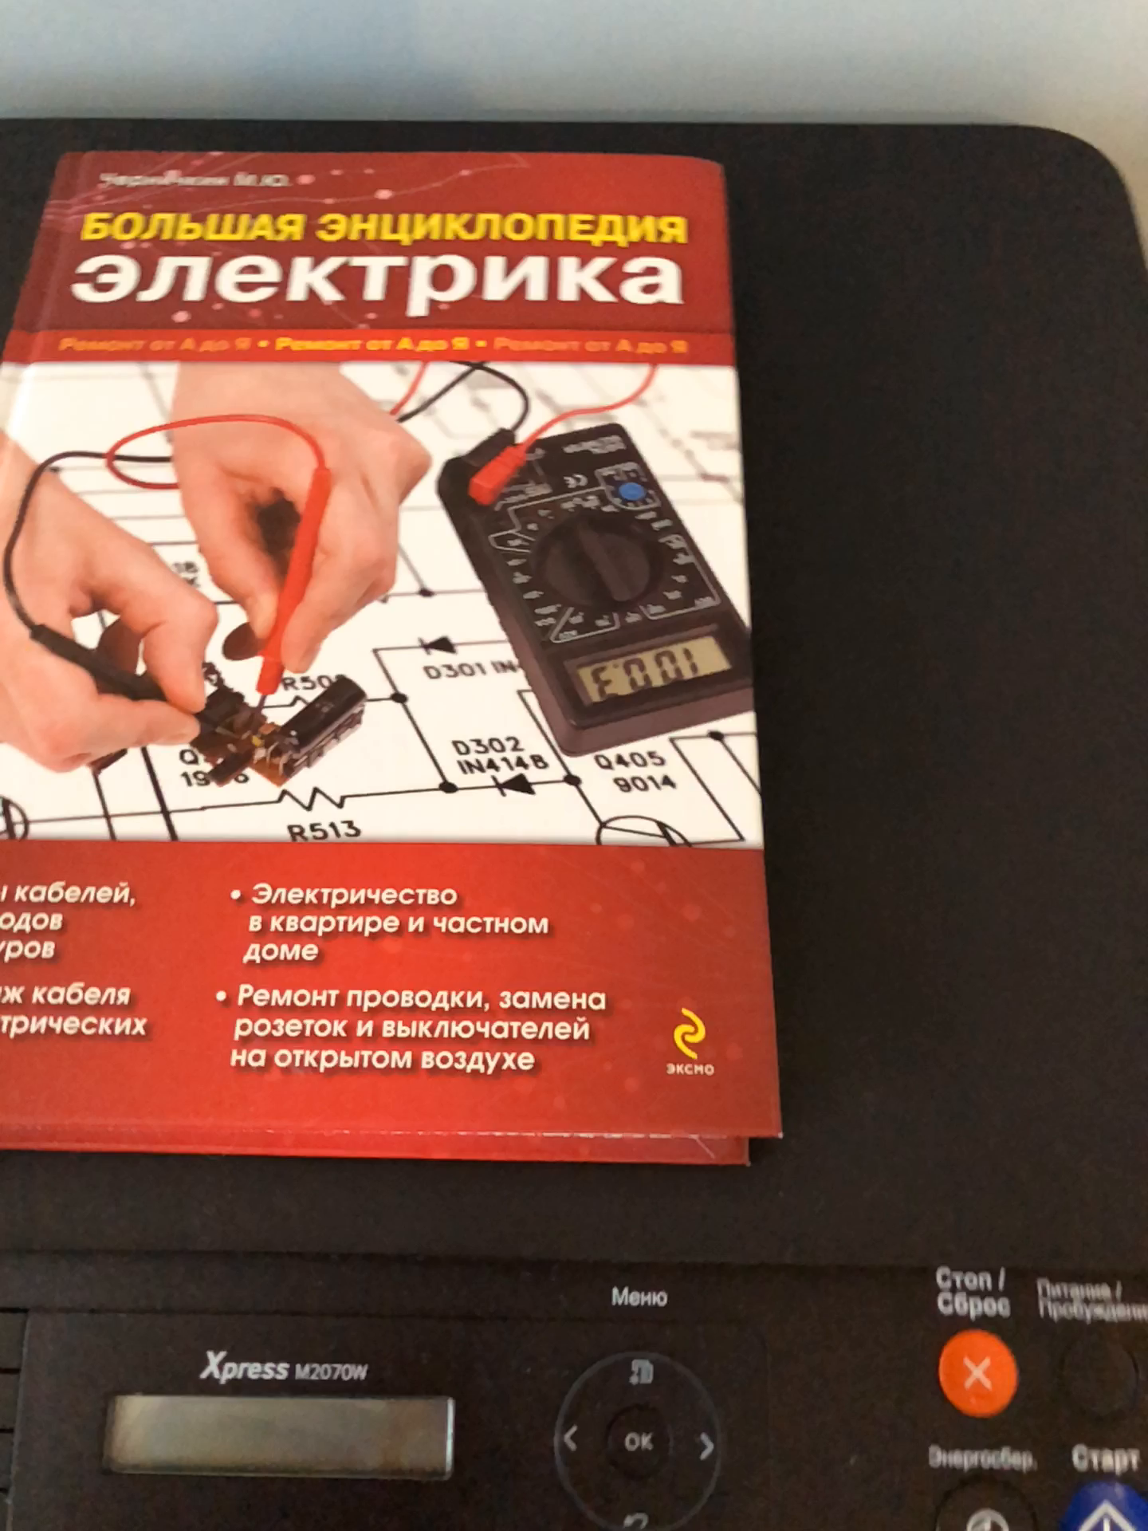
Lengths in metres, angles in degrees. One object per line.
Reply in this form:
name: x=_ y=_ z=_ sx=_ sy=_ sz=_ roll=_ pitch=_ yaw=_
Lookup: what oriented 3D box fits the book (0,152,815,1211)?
book: x=-0.044 y=-0.034 z=0.277 sx=0.170 sy=0.040 sz=0.241 roll=1 pitch=63 yaw=1
